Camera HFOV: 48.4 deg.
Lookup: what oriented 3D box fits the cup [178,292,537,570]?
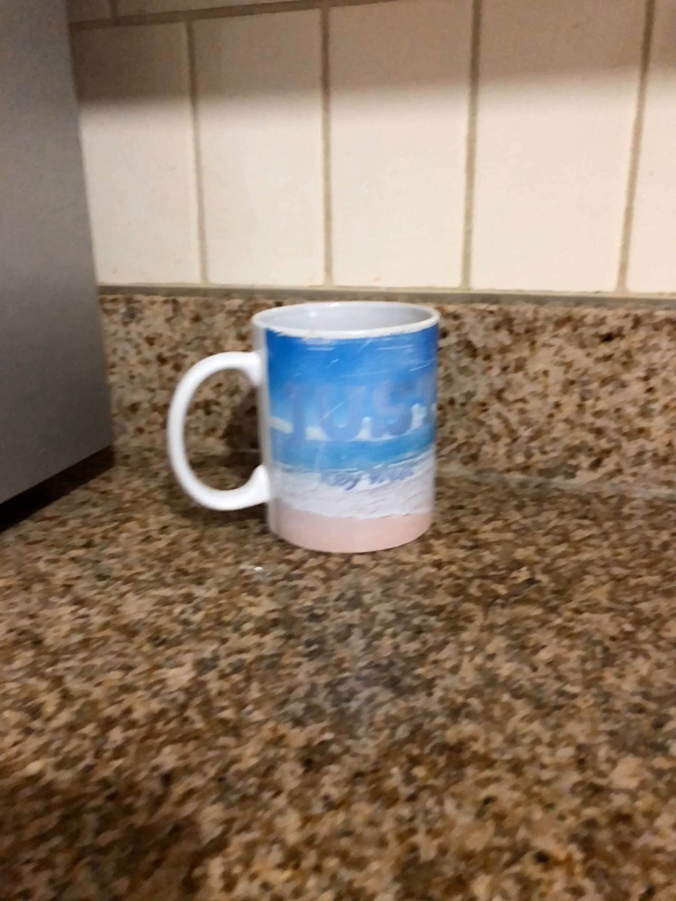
[{"bbox_3d":[0.003,-0.017,0.328,0.130,0.090,0.090,-5,18,-14],"label":"cup"}]
